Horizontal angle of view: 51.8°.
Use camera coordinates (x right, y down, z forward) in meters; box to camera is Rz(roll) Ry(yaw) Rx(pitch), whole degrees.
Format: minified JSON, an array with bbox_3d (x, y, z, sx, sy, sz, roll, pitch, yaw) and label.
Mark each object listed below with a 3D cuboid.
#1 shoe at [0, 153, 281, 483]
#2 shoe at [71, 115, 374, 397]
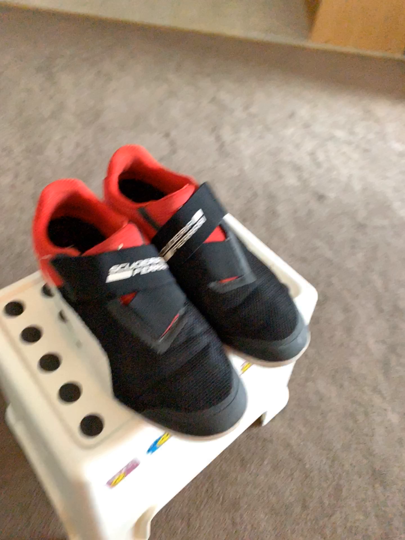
[{"bbox_3d":[-0.080,0.023,0.387,0.100,0.089,0.301,-30,61,-28],"label":"shoe"},{"bbox_3d":[0.002,-0.032,0.430,0.111,0.089,0.301,-33,62,-29],"label":"shoe"}]
